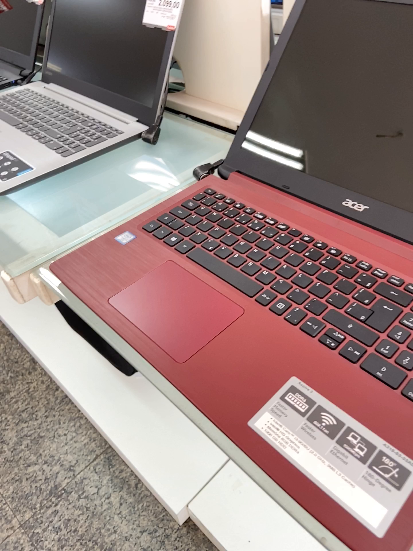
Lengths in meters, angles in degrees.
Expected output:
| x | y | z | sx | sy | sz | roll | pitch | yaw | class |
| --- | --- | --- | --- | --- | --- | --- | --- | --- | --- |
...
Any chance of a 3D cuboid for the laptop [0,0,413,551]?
| x | y | z | sx | sy | sz | roll | pitch | yaw | class |
| --- | --- | --- | --- | --- | --- | --- | --- | --- | --- |
| 0.113 | -0.103 | 0.382 | 0.430 | 0.193 | 0.392 | -35 | 49 | -28 | laptop |
